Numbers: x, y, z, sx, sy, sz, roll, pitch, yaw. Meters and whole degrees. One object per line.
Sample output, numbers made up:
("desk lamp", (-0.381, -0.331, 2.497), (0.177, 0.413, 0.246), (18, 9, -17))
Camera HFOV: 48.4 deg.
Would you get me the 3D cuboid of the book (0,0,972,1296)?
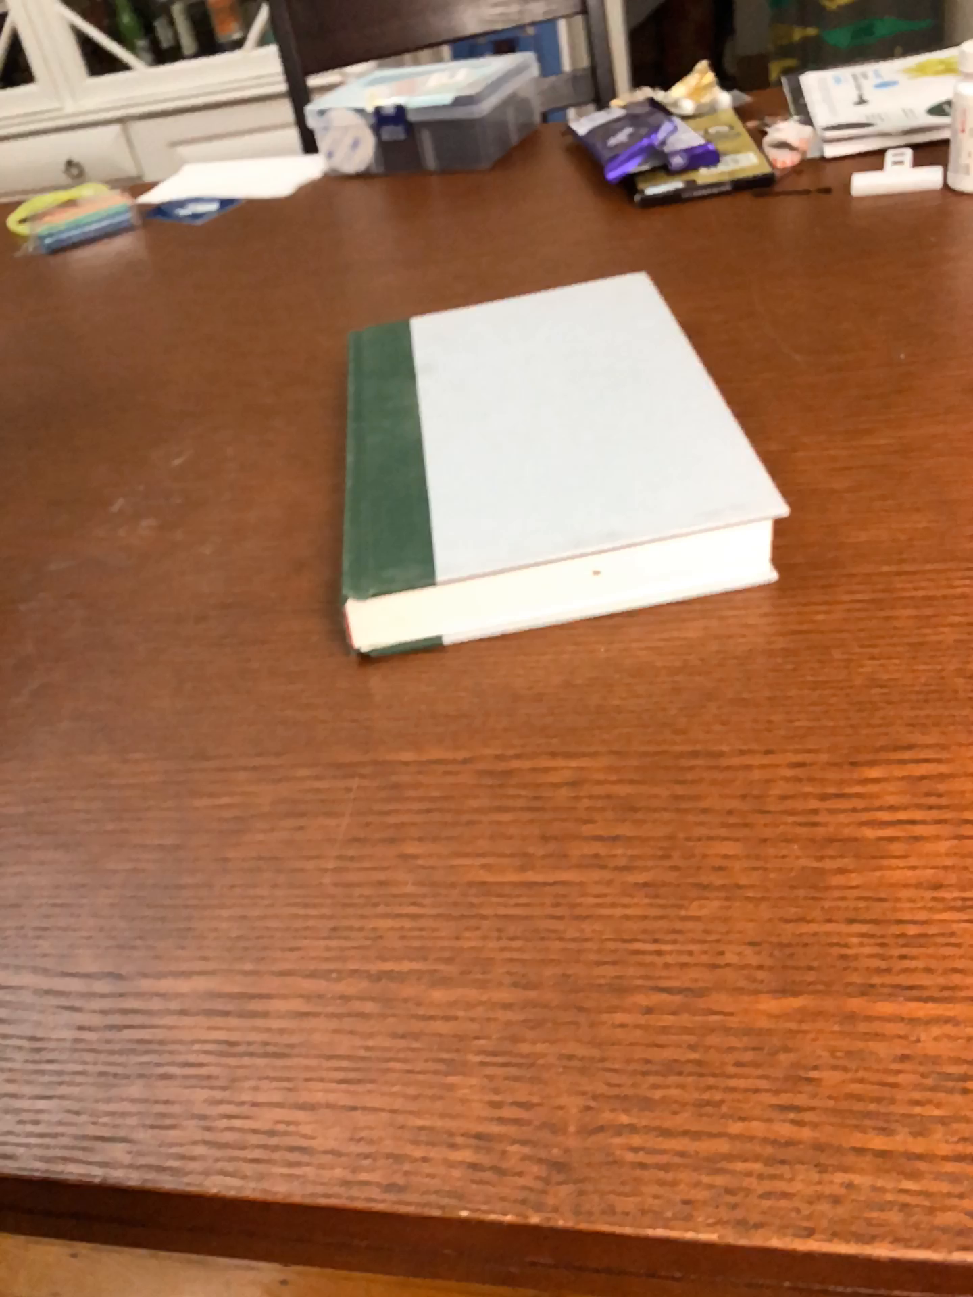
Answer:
("book", (0.013, -0.217, 0.022), (1.001, 0.994, 1.005), (-23, 39, -12))
